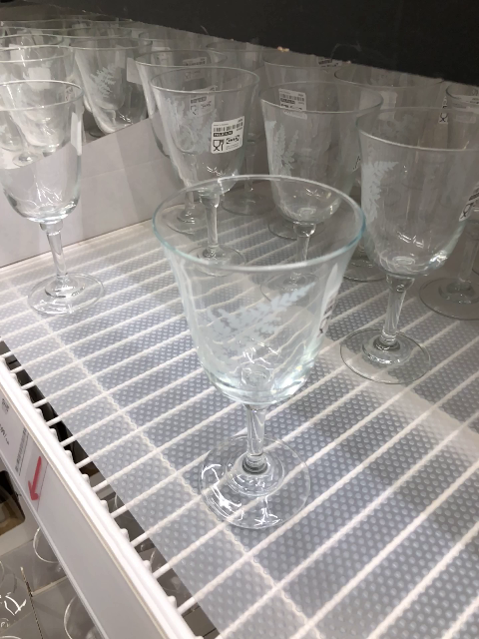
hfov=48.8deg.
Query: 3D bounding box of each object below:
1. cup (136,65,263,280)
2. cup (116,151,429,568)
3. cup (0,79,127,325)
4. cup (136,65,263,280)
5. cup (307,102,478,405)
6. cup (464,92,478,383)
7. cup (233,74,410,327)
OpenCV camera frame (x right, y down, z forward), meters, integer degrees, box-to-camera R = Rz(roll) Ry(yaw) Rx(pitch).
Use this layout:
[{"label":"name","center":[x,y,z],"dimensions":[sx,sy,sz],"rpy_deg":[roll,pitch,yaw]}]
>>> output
[{"label":"cup","center":[-0.028,-0.118,0.427],"dimensions":[0.069,0.146,0.066],"rpy_deg":[0,35,0]},{"label":"cup","center":[0.010,0.017,0.253],"dimensions":[0.086,0.156,0.090],"rpy_deg":[0,35,0]},{"label":"cup","center":[-0.131,-0.084,0.387],"dimensions":[0.069,0.156,0.067],"rpy_deg":[0,35,0]},{"label":"cup","center":[-0.028,-0.118,0.427],"dimensions":[0.069,0.146,0.066],"rpy_deg":[0,35,0]},{"label":"cup","center":[0.112,-0.045,0.343],"dimensions":[0.089,0.155,0.087],"rpy_deg":[0,35,0]},{"label":"cup","center":[0.220,-0.054,0.325],"dimensions":[0.086,0.136,0.090],"rpy_deg":[0,35,0]},{"label":"cup","center":[0.054,-0.088,0.385],"dimensions":[0.080,0.146,0.086],"rpy_deg":[0,35,0]}]
